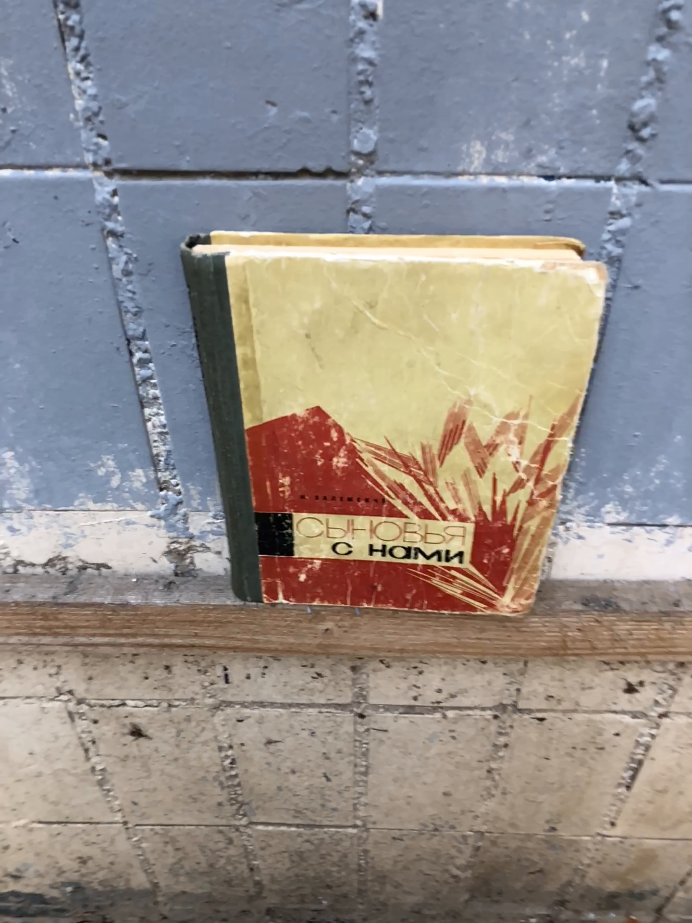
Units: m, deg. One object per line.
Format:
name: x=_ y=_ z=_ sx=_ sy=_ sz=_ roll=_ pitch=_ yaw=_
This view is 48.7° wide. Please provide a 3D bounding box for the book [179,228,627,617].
book: x=0.017 y=-0.006 z=0.285 sx=0.135 sy=0.156 sz=0.020 roll=2 pitch=36 yaw=3
